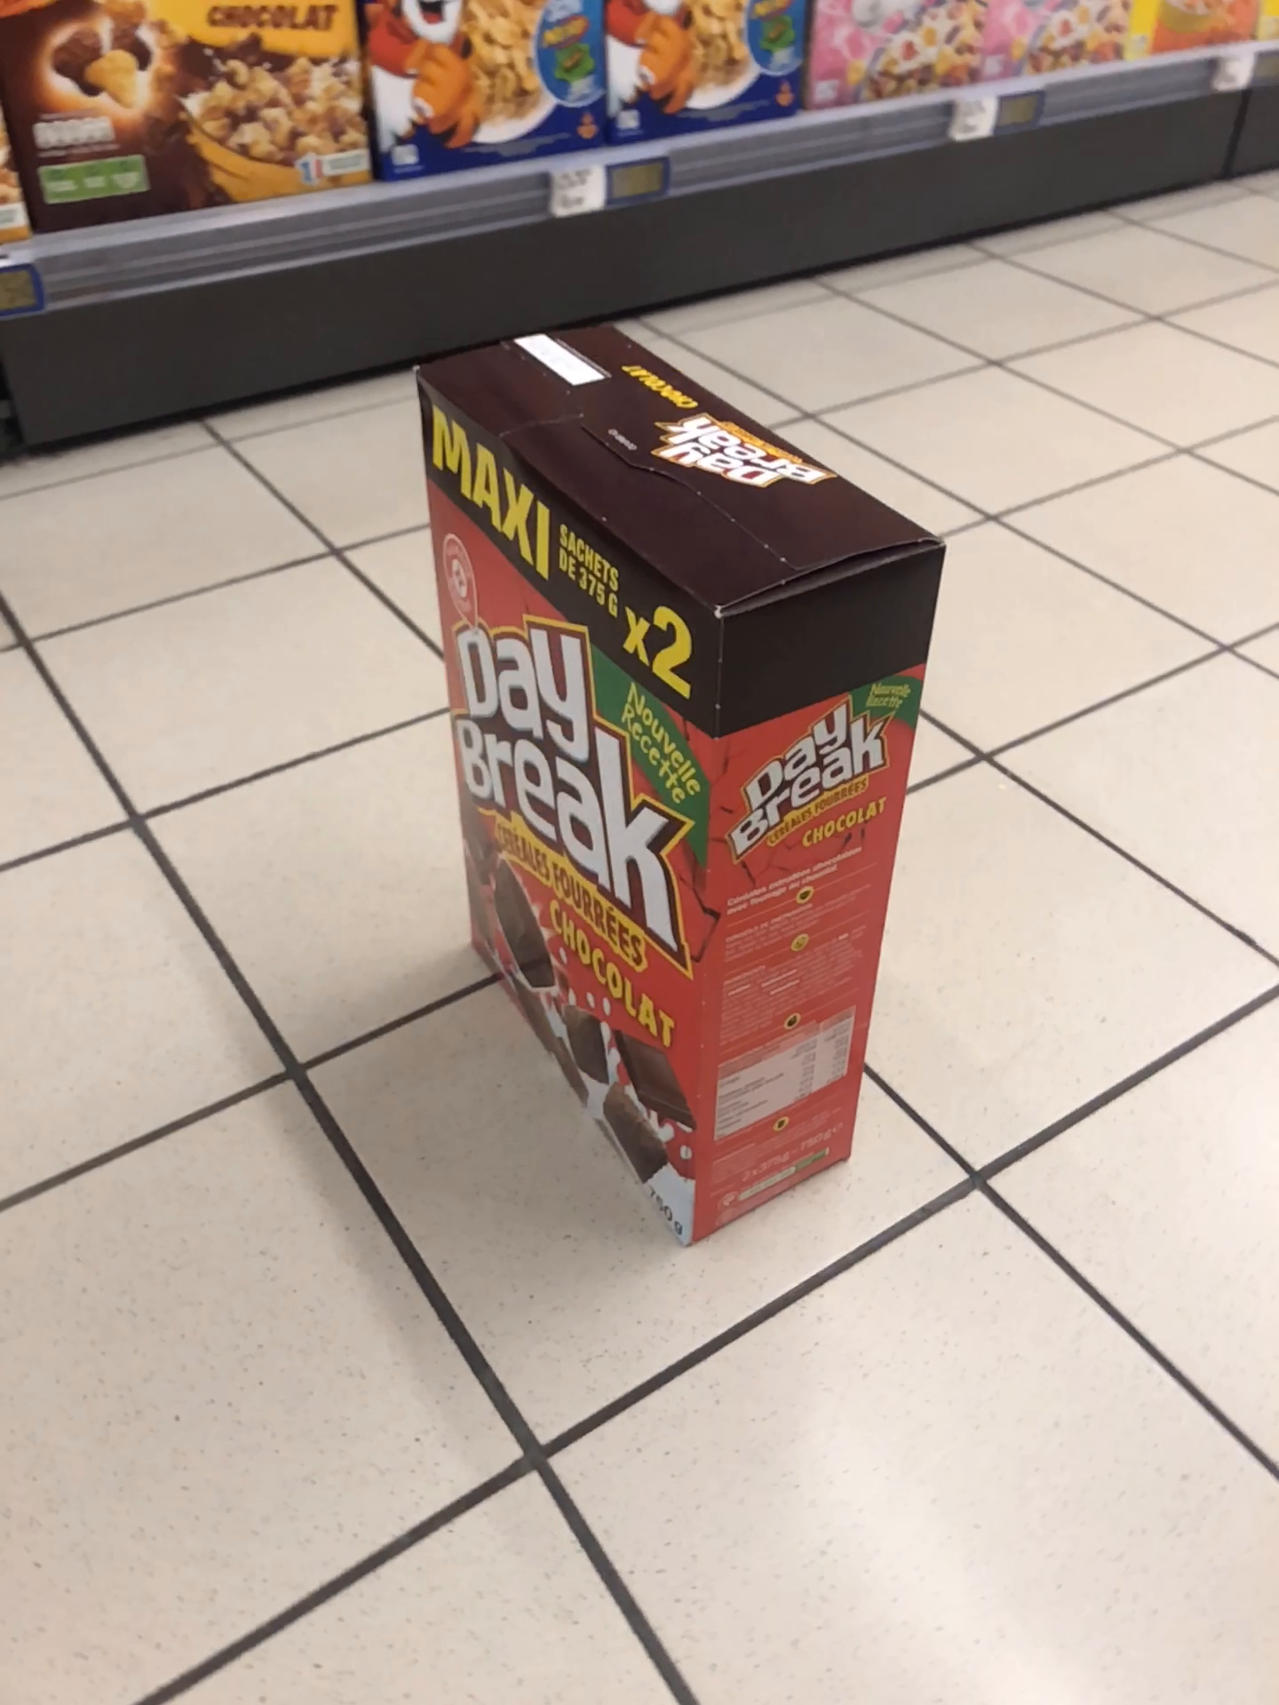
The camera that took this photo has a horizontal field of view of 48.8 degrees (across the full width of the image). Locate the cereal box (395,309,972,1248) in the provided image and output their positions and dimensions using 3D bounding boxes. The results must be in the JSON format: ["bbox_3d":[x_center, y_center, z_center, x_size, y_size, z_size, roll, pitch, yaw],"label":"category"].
[{"bbox_3d":[0.002,-0.026,0.533,0.090,0.278,0.201,-20,45,-23],"label":"cereal box"}]
